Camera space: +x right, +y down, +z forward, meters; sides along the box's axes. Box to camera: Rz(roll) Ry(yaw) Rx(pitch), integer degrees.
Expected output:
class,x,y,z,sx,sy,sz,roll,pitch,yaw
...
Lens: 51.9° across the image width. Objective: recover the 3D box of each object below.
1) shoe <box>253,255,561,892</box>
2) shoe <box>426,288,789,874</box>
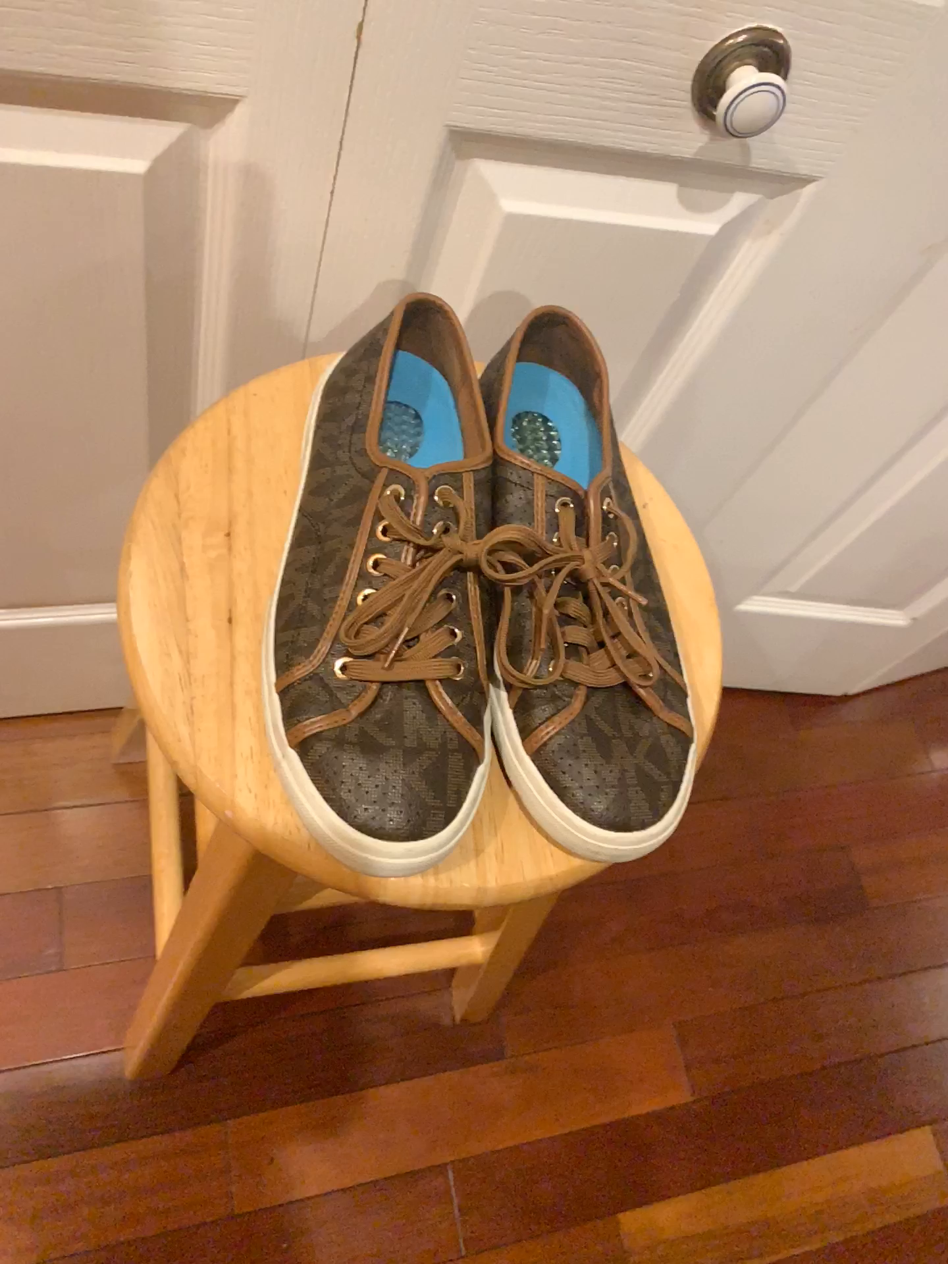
class,x,y,z,sx,sy,sz,roll,pitch,yaw
shoe,-0.033,-0.028,0.428,0.100,0.090,0.260,6,62,-14
shoe,0.049,-0.029,0.458,0.100,0.080,0.260,0,64,-17
